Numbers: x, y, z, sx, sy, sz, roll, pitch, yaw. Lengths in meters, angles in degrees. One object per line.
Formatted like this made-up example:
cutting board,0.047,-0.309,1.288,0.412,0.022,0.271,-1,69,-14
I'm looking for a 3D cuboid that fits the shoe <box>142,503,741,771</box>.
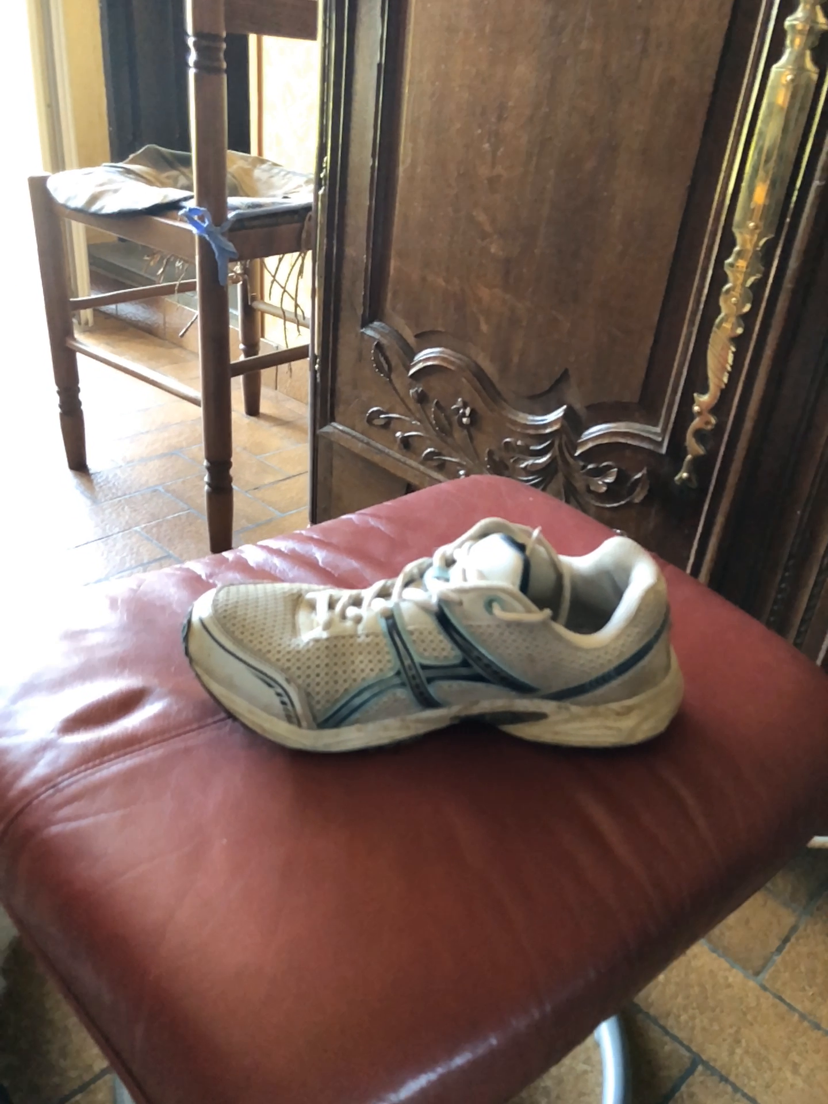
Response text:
shoe,0.009,0.042,0.473,0.270,0.080,0.121,2,29,-7
